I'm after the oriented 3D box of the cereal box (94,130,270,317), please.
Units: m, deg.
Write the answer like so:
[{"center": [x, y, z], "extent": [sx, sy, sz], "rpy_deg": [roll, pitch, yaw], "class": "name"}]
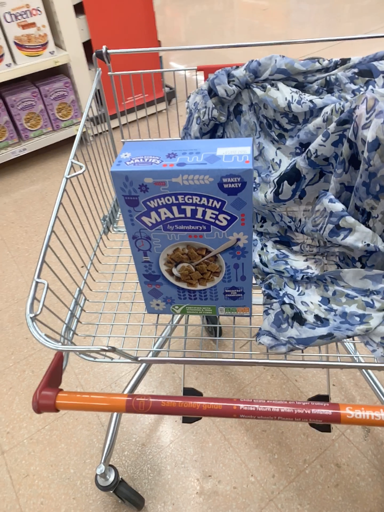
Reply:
[{"center": [-0.001, -0.037, 0.612], "extent": [0.220, 0.287, 0.091], "rpy_deg": [1, 41, 7], "class": "cereal box"}]
